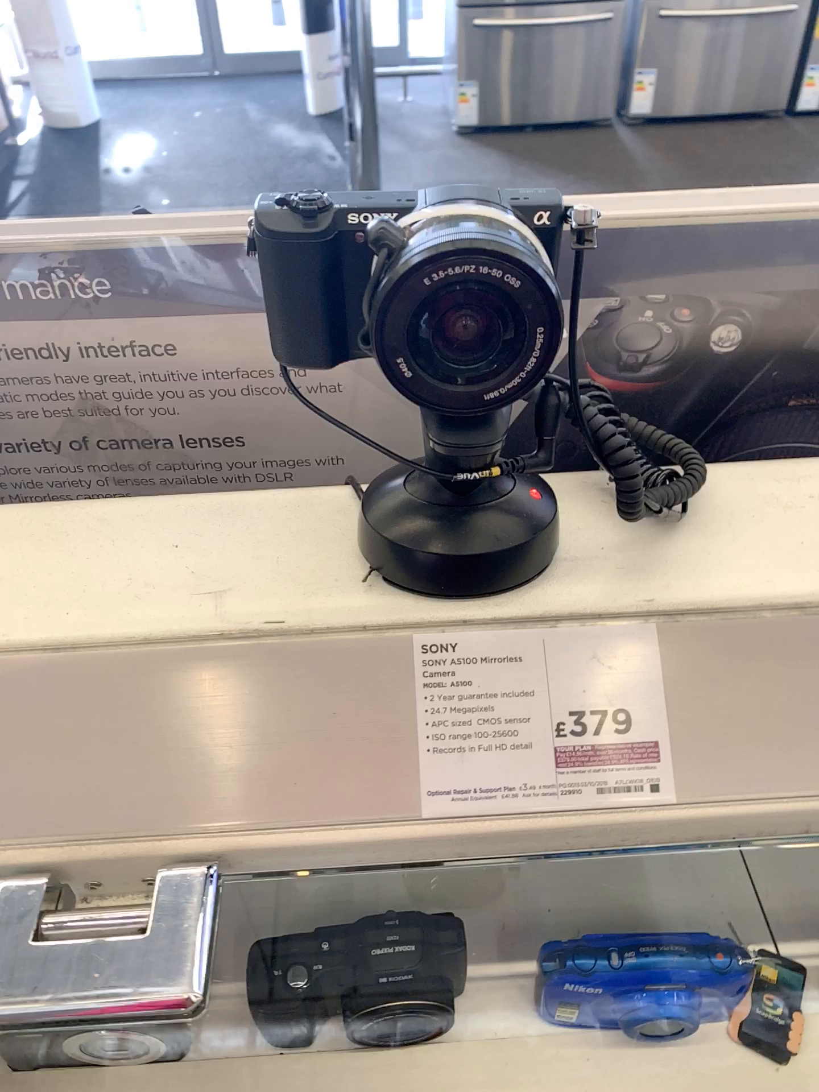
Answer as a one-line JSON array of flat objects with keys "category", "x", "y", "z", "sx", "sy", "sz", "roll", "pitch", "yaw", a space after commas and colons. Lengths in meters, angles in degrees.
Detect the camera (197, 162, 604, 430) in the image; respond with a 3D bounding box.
[{"category": "camera", "x": -0.002, "y": -0.090, "z": 0.298, "sx": 0.120, "sy": 0.059, "sz": 0.081, "roll": -1, "pitch": 41, "yaw": 1}]
